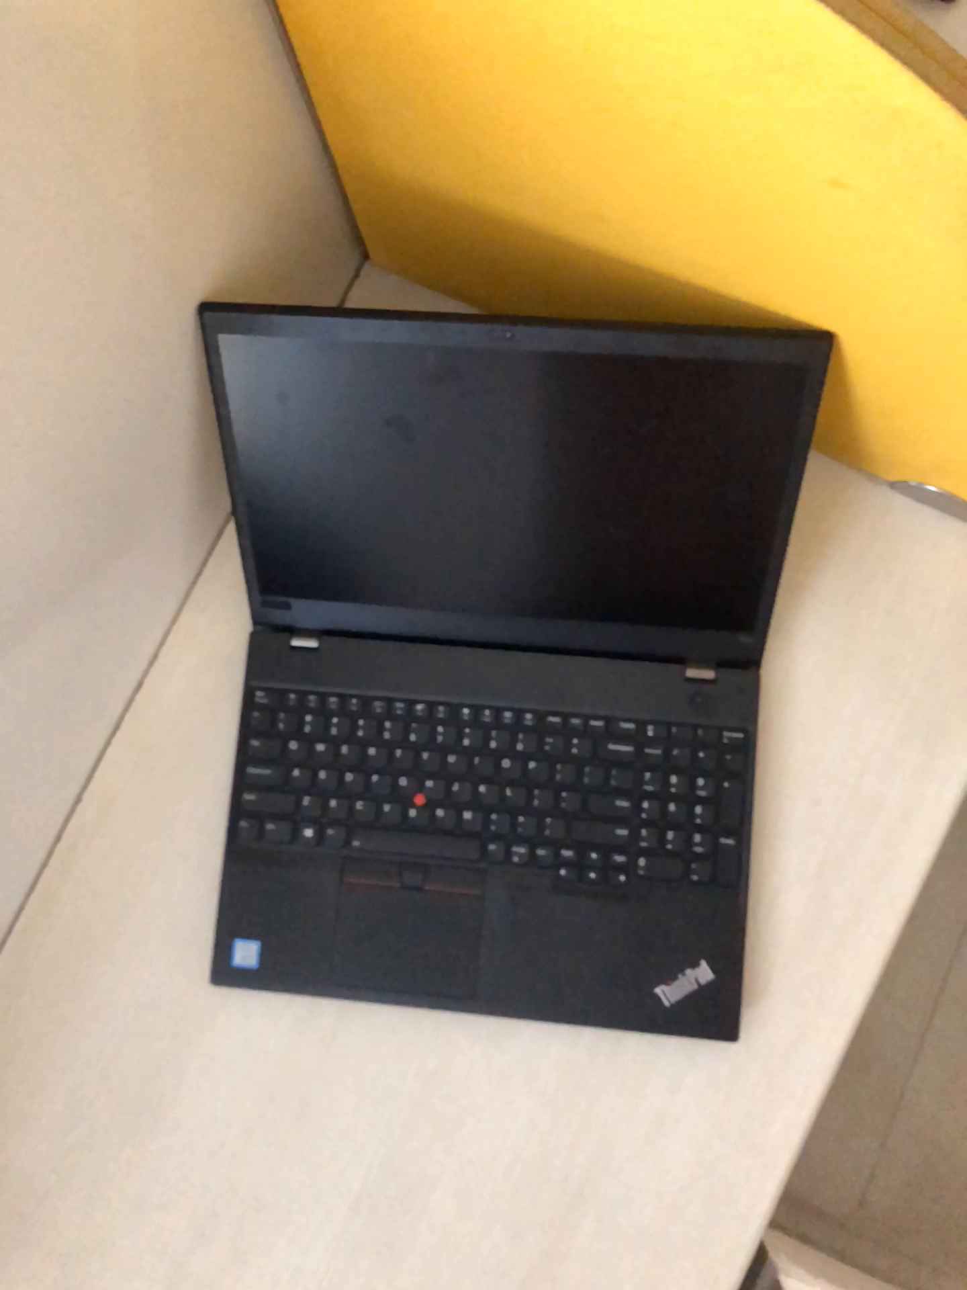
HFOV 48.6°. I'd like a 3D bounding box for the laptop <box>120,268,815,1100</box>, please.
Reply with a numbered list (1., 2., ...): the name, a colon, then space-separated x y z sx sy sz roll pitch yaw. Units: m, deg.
1. laptop: -0.001 0.020 0.650 0.344 0.151 0.420 4 85 4
